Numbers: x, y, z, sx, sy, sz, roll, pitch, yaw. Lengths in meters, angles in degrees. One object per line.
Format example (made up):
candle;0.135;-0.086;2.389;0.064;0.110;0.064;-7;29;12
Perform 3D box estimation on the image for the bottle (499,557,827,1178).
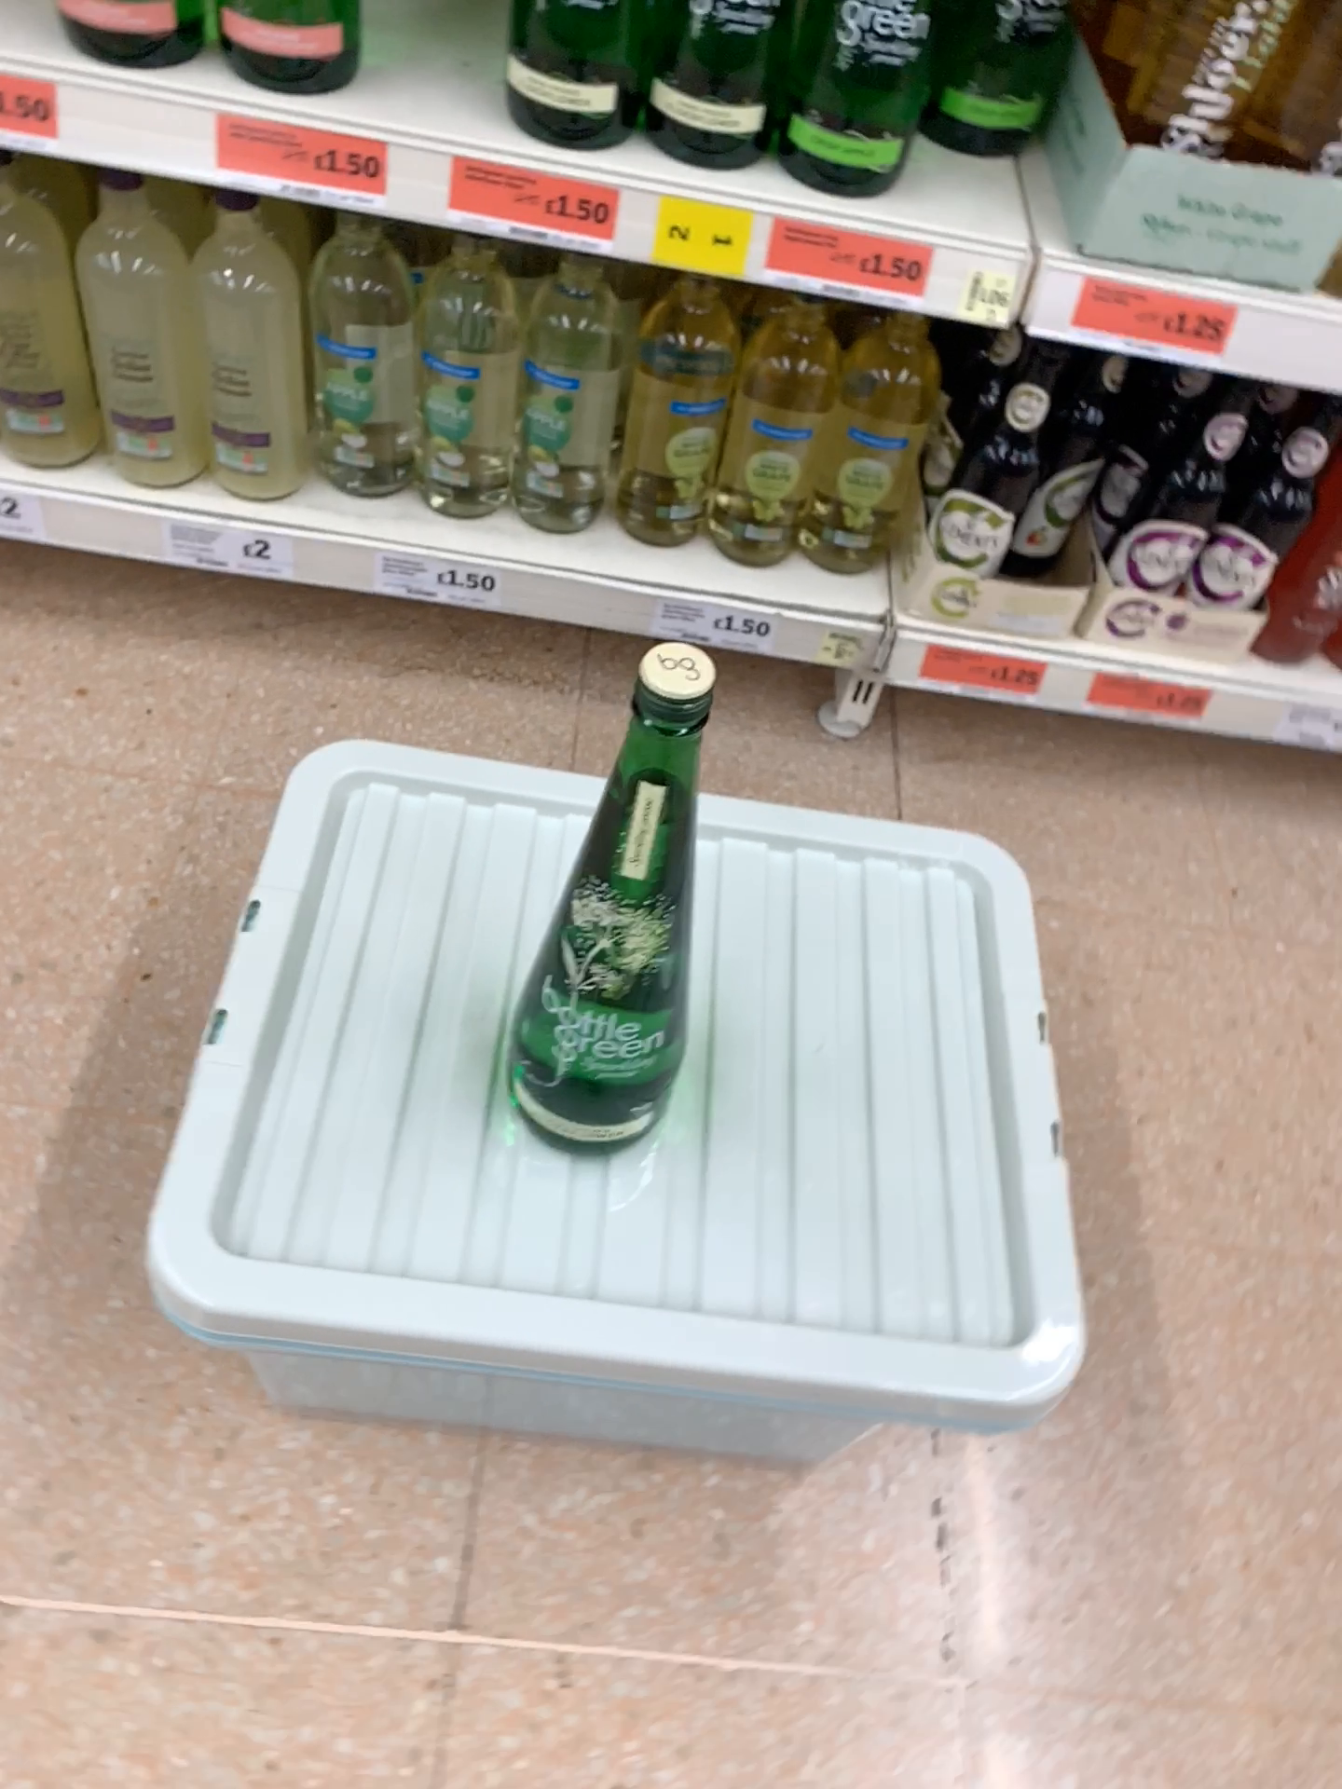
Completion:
bottle;-0.014;0.008;0.602;0.084;0.298;0.094;14;52;-1
